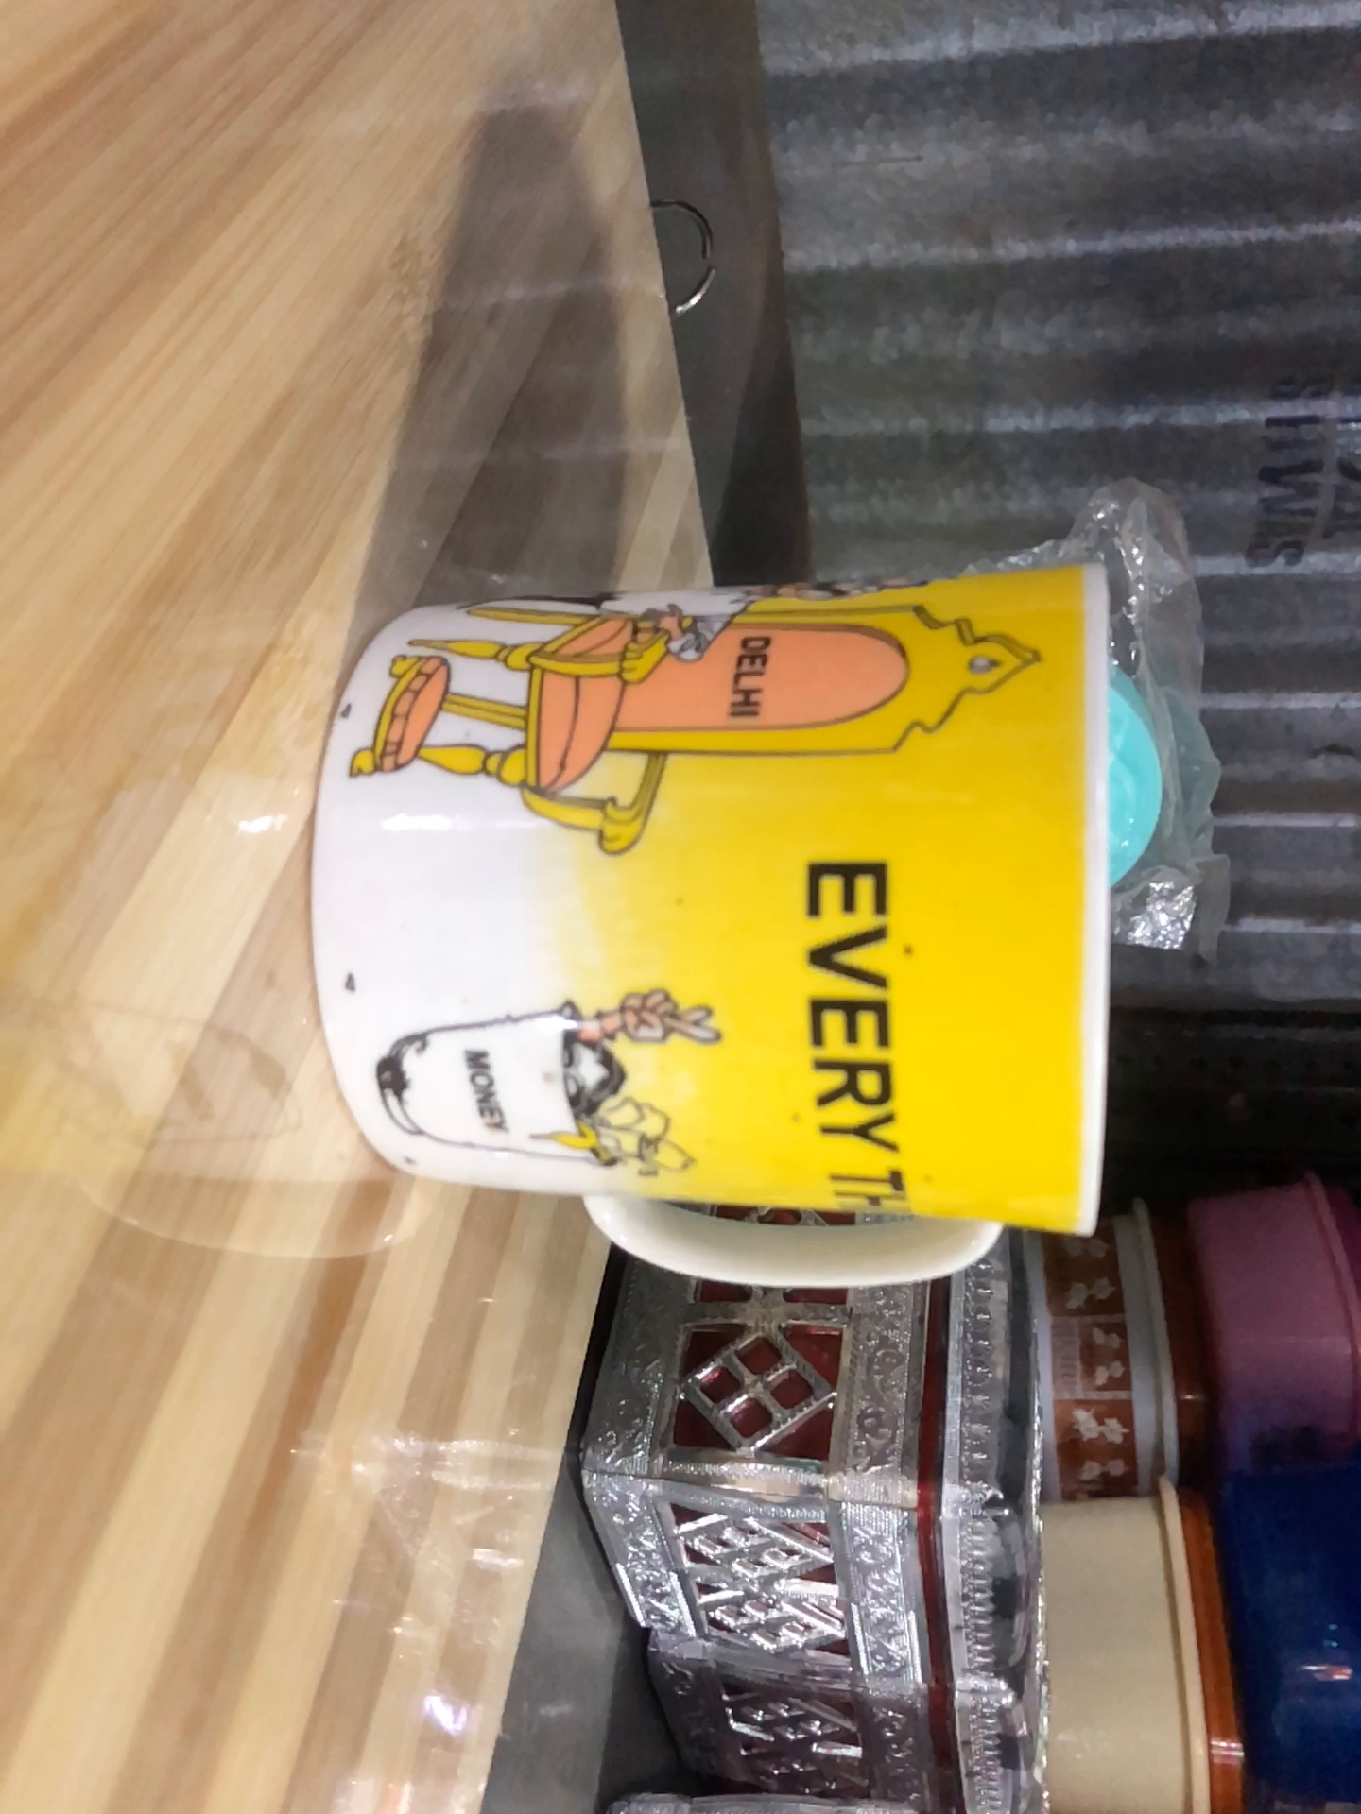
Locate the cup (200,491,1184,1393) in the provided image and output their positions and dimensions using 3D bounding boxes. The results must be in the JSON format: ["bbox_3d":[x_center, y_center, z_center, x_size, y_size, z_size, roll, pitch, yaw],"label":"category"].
[{"bbox_3d":[0.012,0.011,0.214,0.110,0.100,0.070,76,19,-51],"label":"cup"}]
